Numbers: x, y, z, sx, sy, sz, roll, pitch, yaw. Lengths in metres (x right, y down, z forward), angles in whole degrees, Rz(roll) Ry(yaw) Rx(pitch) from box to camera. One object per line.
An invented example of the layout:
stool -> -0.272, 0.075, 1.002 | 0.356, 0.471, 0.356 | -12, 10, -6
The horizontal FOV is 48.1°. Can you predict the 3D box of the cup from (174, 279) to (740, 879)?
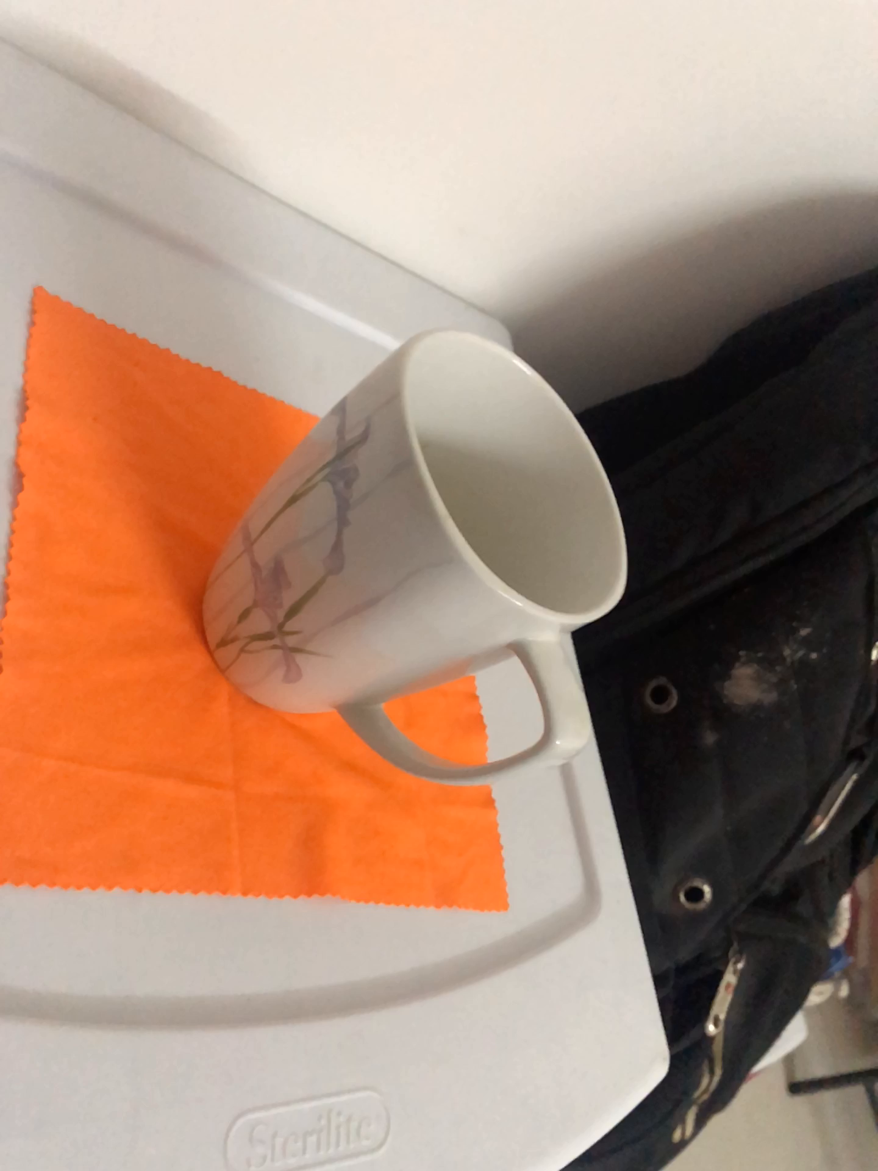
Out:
cup -> 0.000, 0.005, 0.279 | 0.091, 0.100, 0.120 | 7, 61, -47
